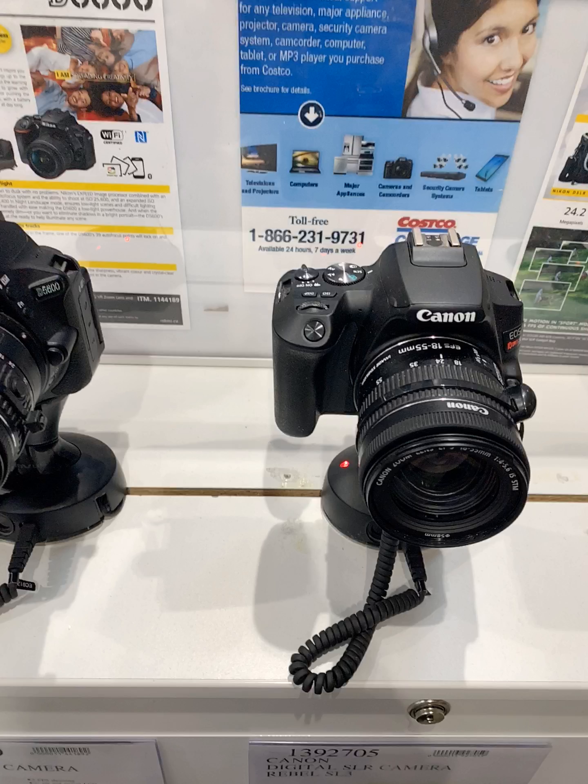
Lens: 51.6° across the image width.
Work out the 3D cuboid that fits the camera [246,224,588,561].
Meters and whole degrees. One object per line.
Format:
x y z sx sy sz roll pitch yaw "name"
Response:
0.047 -0.004 0.253 0.120 0.089 0.111 0 39 1 "camera"
